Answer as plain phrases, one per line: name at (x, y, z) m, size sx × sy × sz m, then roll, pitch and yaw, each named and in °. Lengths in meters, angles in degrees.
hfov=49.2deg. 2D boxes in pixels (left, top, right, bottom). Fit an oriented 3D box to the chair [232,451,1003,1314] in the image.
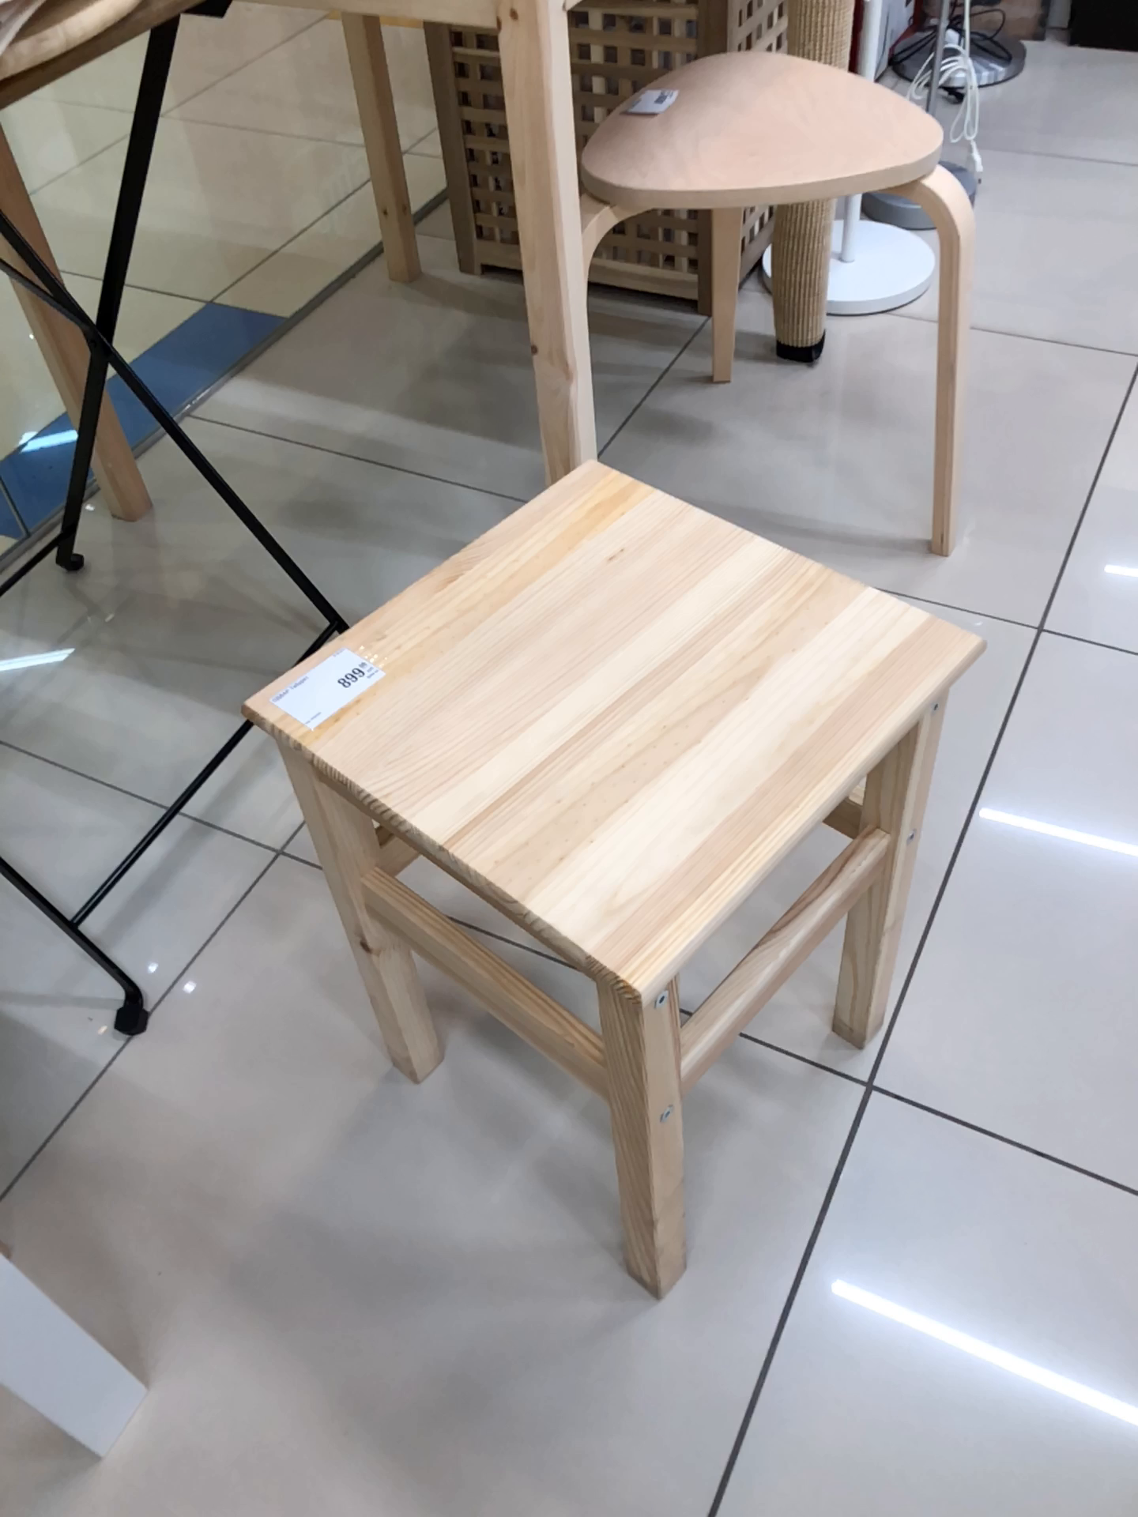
chair at (0.043, 0.086, 0.883) m, size 0.321 × 0.407 × 0.328 m, roll 32°, pitch 58°, yaw 30°
